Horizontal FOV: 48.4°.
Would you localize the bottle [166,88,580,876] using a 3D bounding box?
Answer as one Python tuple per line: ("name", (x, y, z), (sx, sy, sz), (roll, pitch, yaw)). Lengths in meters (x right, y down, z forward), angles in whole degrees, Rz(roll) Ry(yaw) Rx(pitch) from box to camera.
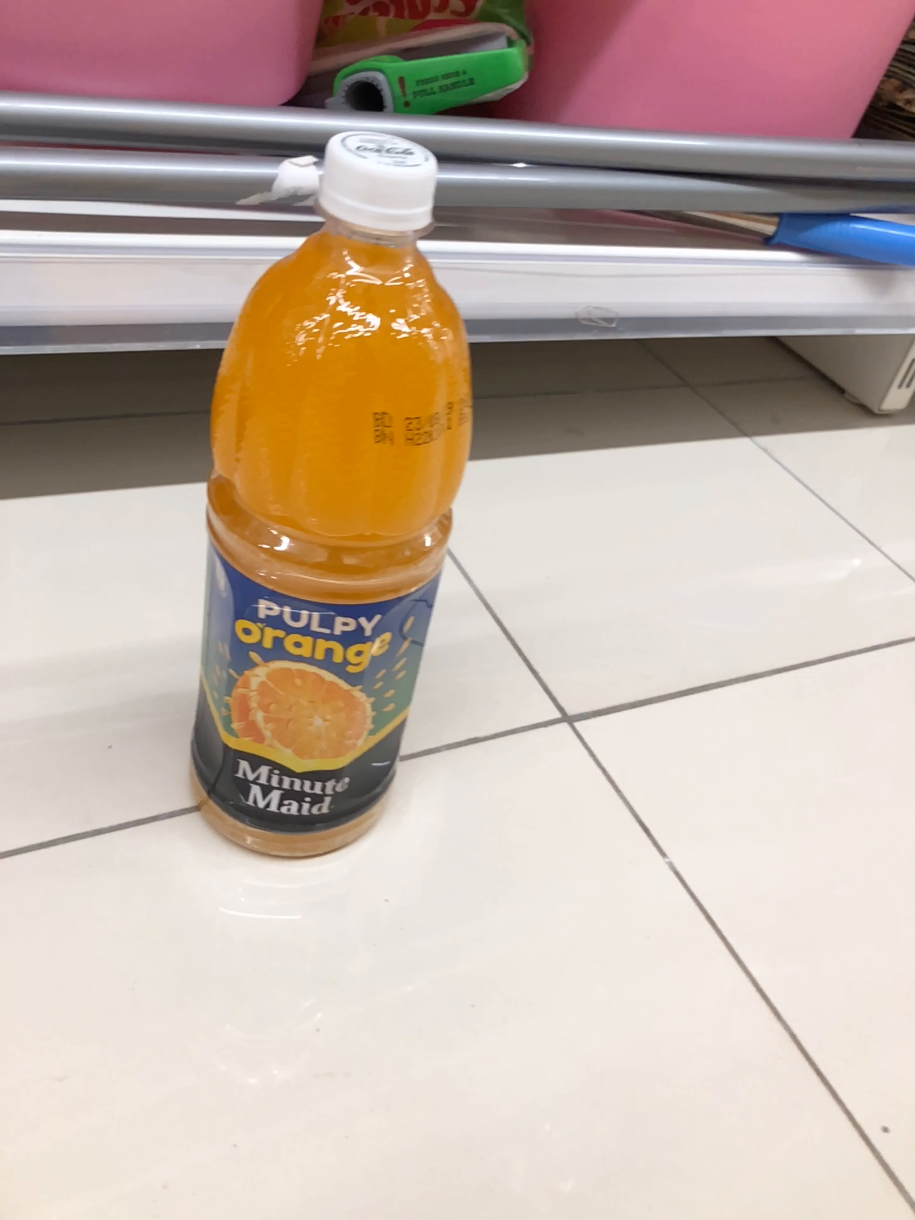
("bottle", (-0.044, -0.023, 0.343), (0.090, 0.245, 0.091), (9, 38, -7))
